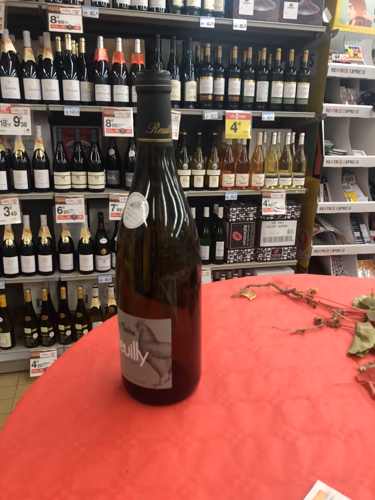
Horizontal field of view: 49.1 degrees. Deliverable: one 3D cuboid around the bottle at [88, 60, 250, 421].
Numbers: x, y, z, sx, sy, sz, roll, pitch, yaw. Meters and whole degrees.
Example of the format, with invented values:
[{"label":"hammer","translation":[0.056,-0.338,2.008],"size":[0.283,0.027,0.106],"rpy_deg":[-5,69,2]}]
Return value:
[{"label":"bottle","translation":[-0.018,-0.009,0.365],"size":[0.090,0.279,0.090],"rpy_deg":[1,18,0]}]
